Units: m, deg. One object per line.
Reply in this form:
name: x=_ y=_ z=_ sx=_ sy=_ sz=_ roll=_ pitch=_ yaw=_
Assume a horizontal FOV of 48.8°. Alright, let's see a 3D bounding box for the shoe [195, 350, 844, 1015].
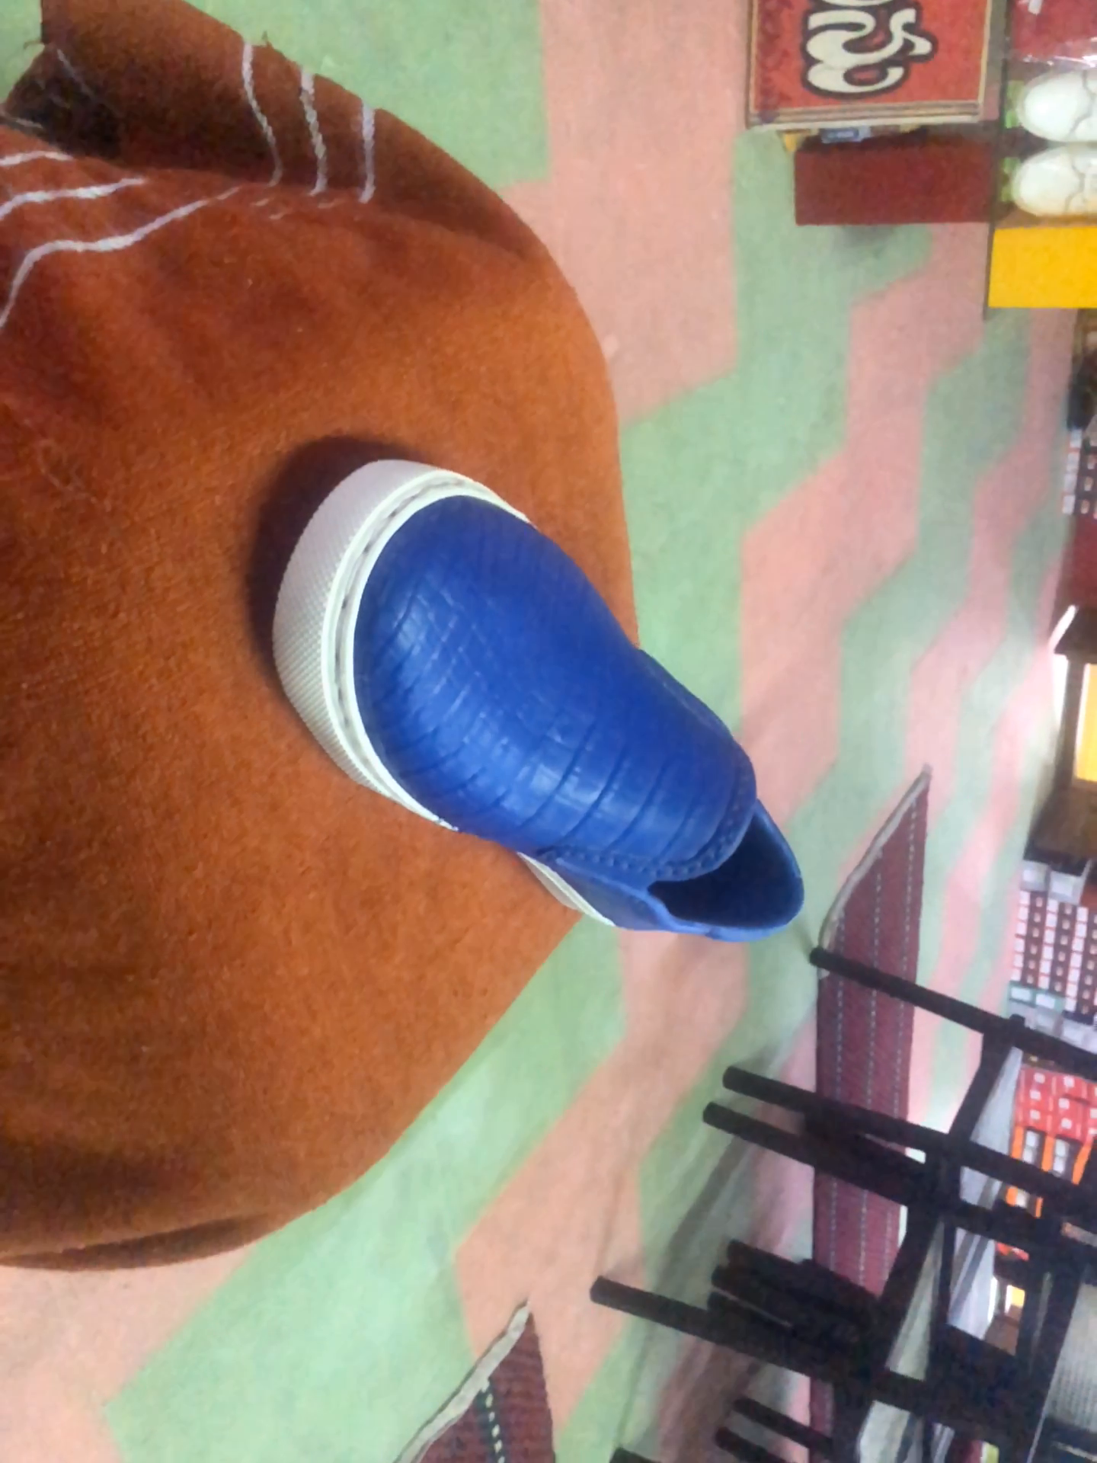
shoe: x=0.021 y=0.007 z=0.439 sx=0.302 sy=0.079 sz=0.110 roll=44 pitch=63 yaw=-55
